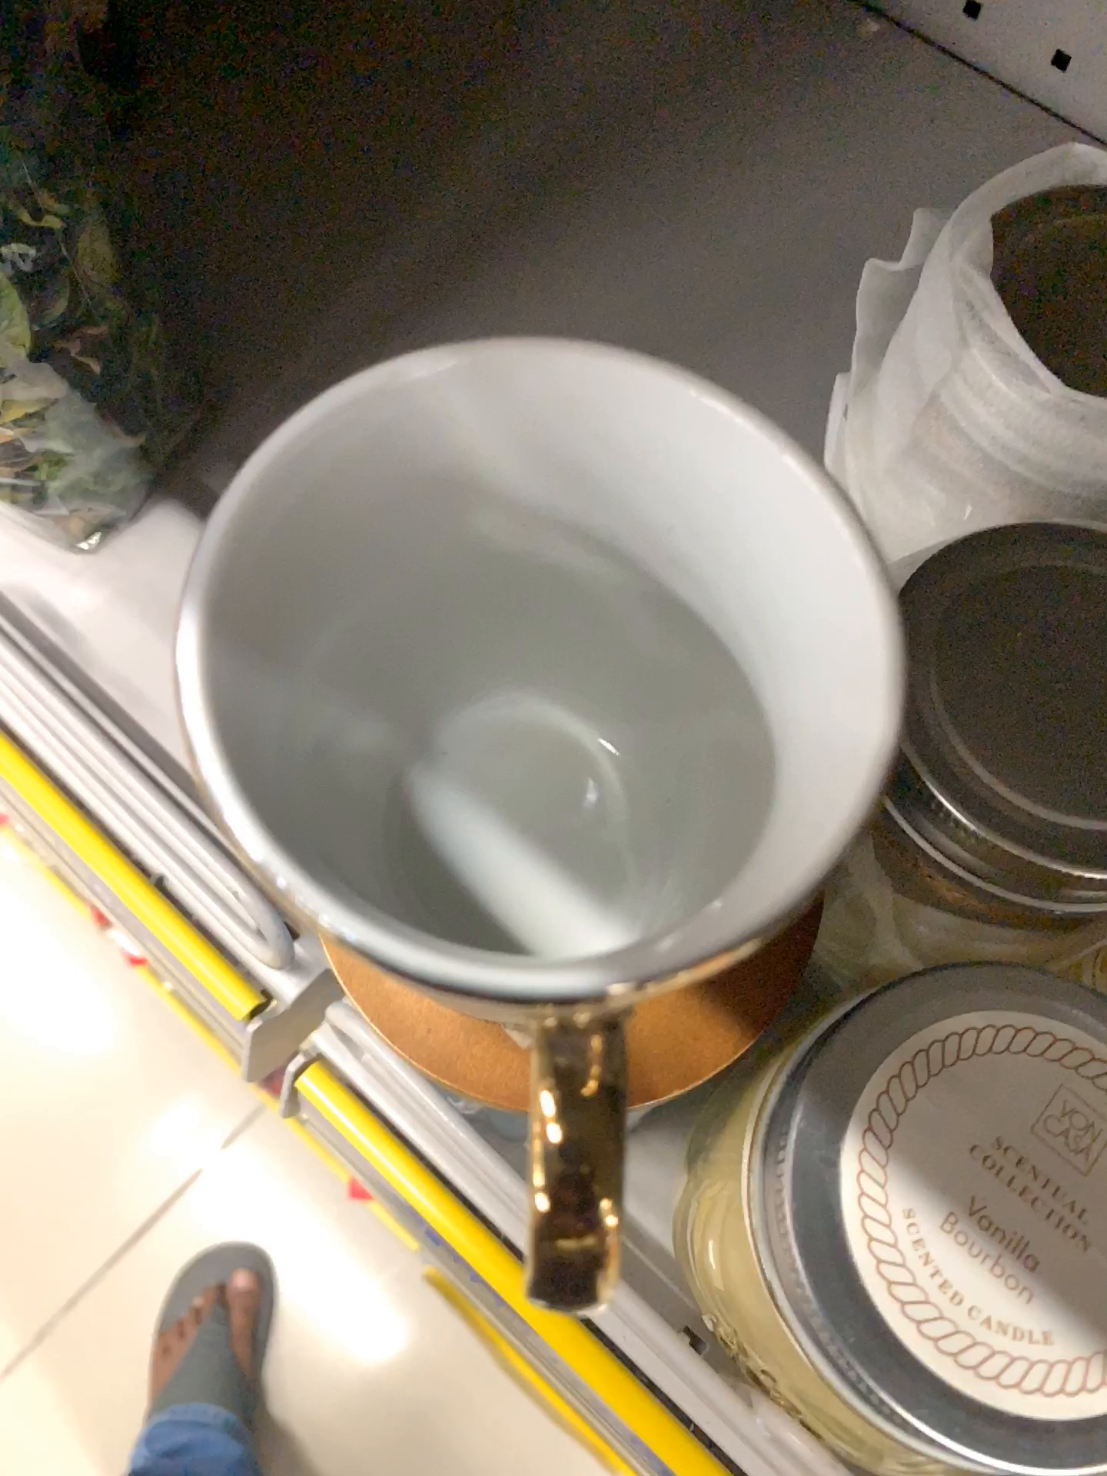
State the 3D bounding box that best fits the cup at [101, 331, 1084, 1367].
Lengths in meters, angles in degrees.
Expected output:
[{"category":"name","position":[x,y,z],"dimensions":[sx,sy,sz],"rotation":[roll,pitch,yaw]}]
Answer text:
[{"category":"cup","position":[0.000,0.017,0.136],"dimensions":[0.070,0.080,0.090],"rotation":[-3,66,-2]}]
